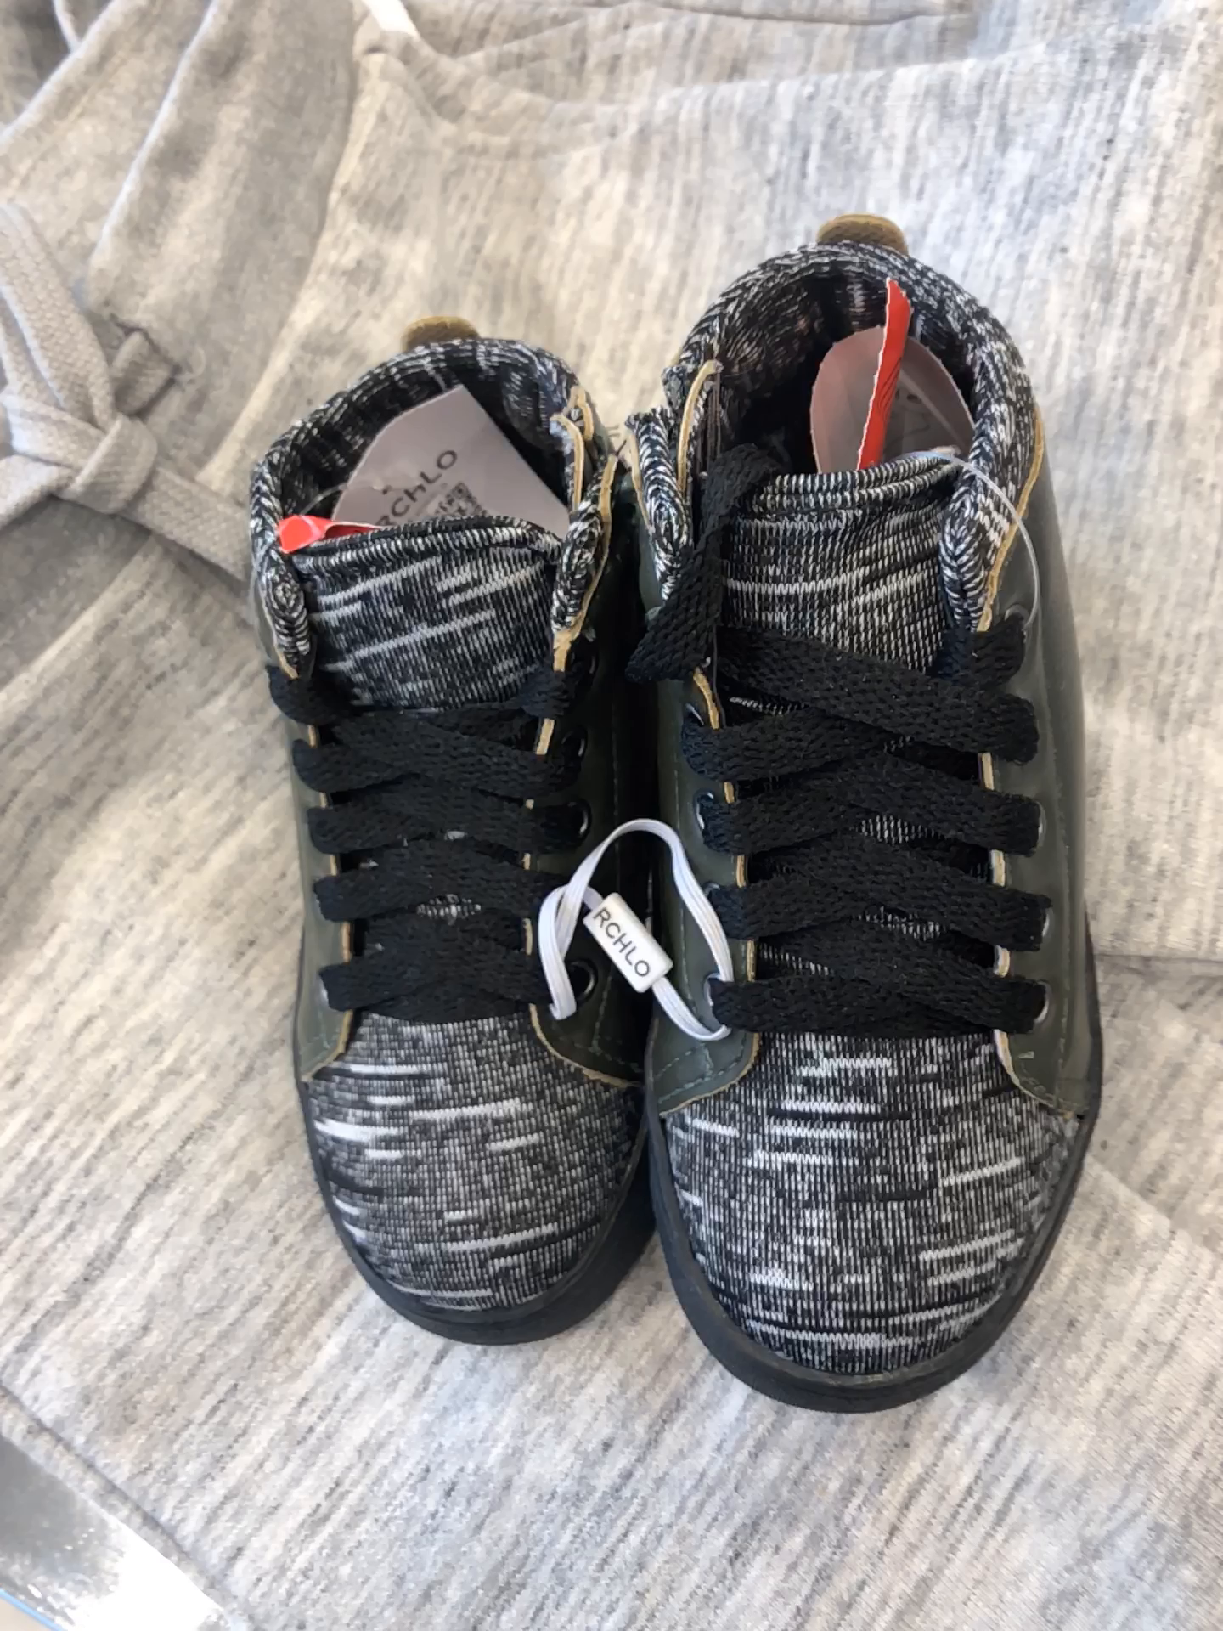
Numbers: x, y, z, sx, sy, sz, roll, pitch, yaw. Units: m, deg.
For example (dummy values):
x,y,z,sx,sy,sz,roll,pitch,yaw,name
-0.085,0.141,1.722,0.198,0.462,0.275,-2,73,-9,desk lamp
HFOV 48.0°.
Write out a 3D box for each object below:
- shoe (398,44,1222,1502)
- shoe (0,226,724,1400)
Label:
x,y,z,sx,sy,sz,roll,pitch,yaw,name
0.027,-0.003,0.202,0.080,0.090,0.170,-3,73,11,shoe
-0.029,0.003,0.230,0.080,0.090,0.160,0,73,12,shoe
